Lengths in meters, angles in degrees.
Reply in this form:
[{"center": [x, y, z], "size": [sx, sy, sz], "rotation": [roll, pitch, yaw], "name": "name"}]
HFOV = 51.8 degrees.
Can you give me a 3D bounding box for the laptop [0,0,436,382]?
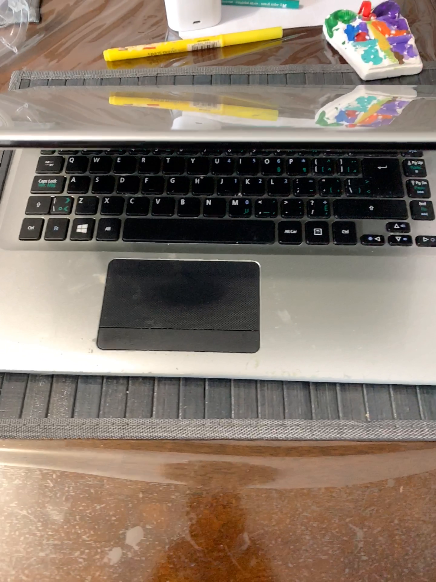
[{"center": [0.003, -0.079, 0.265], "size": [0.343, 0.141, 0.225], "rotation": [1, 66, 2], "name": "laptop"}]
